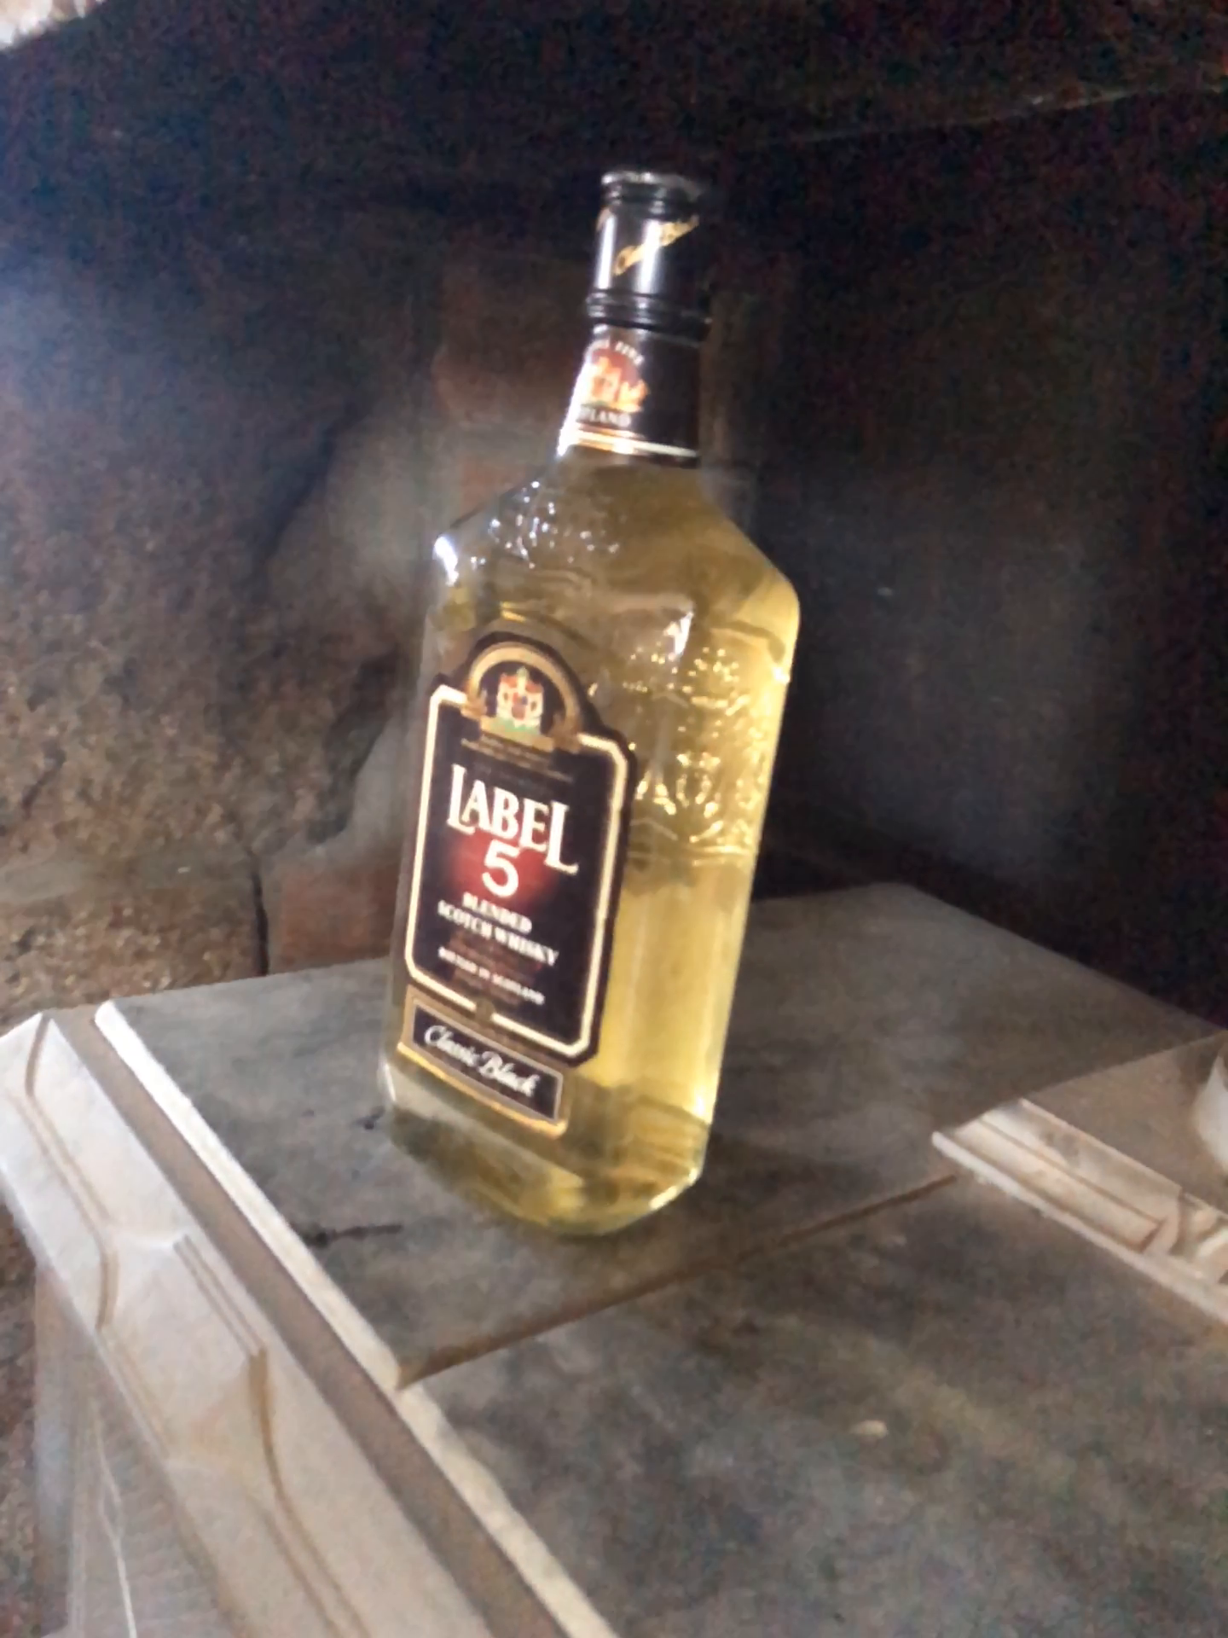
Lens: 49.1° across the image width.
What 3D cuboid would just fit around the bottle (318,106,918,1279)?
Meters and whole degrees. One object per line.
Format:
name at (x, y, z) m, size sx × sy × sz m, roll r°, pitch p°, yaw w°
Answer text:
bottle at (-0.009, -0.031, 0.337) m, size 0.110 × 0.249 × 0.060 m, roll 19°, pitch 19°, yaw 38°
